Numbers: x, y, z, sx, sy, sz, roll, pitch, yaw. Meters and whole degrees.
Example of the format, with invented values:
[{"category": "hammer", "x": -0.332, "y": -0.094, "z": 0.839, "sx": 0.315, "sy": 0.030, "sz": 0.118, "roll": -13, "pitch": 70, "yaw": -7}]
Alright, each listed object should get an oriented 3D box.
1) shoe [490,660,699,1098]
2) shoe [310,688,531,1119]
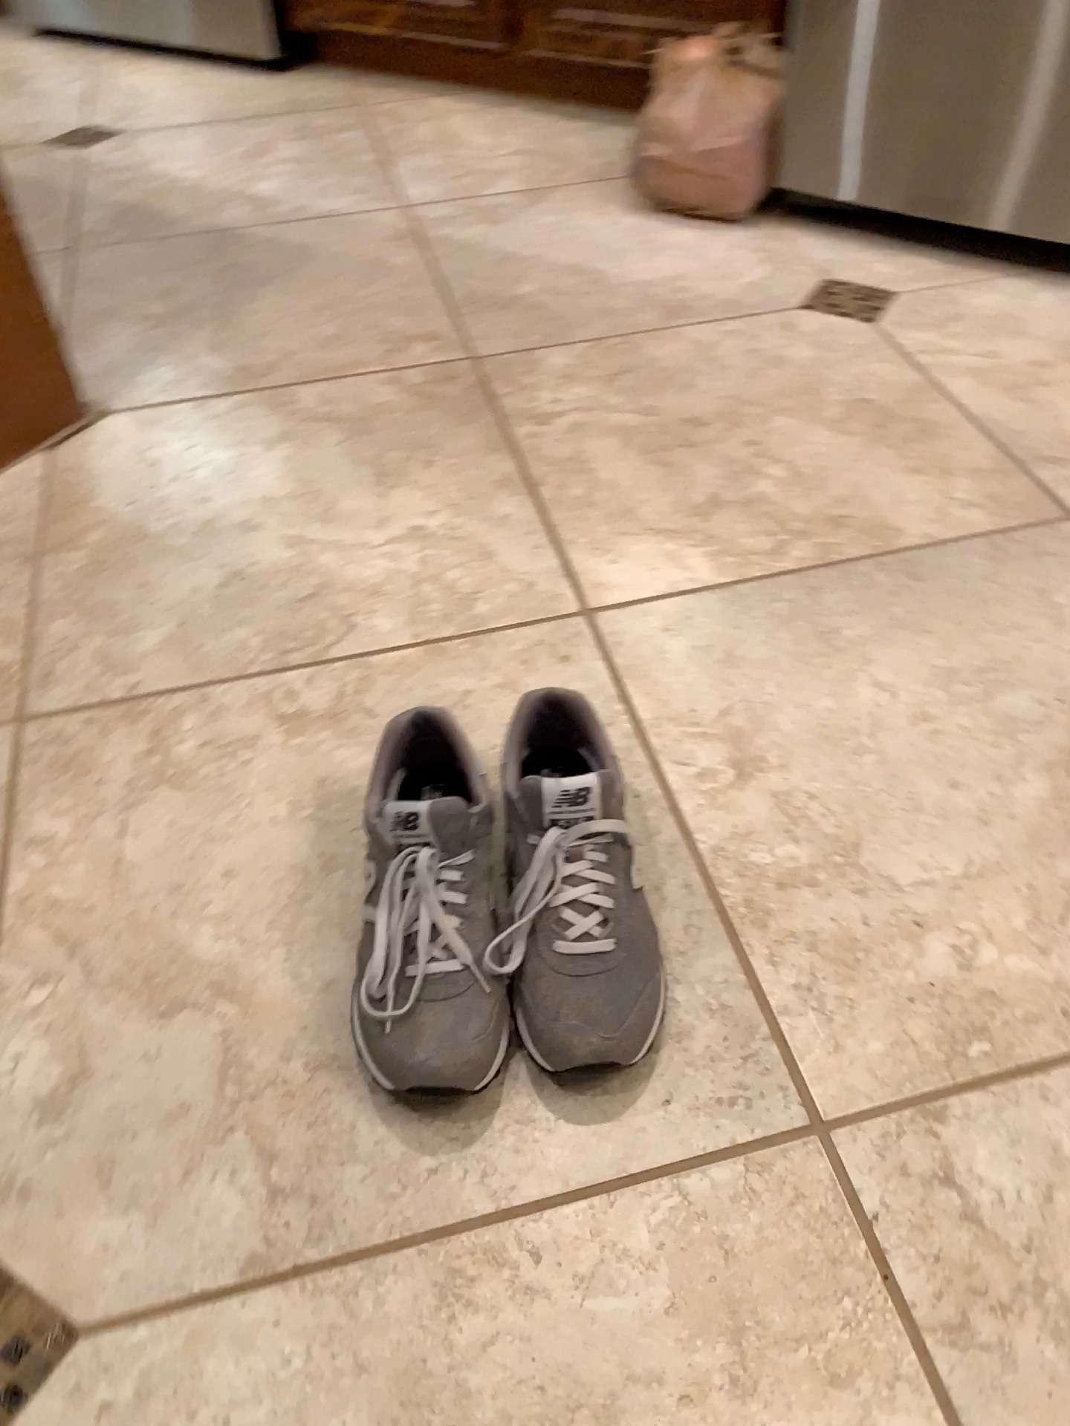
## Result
[{"category": "shoe", "x": 0.036, "y": 0.100, "z": 0.741, "sx": 0.115, "sy": 0.103, "sz": 0.285, "roll": -1, "pitch": 45, "yaw": 2}, {"category": "shoe", "x": -0.064, "y": 0.117, "z": 0.738, "sx": 0.115, "sy": 0.103, "sz": 0.275, "roll": -1, "pitch": 45, "yaw": 2}]
